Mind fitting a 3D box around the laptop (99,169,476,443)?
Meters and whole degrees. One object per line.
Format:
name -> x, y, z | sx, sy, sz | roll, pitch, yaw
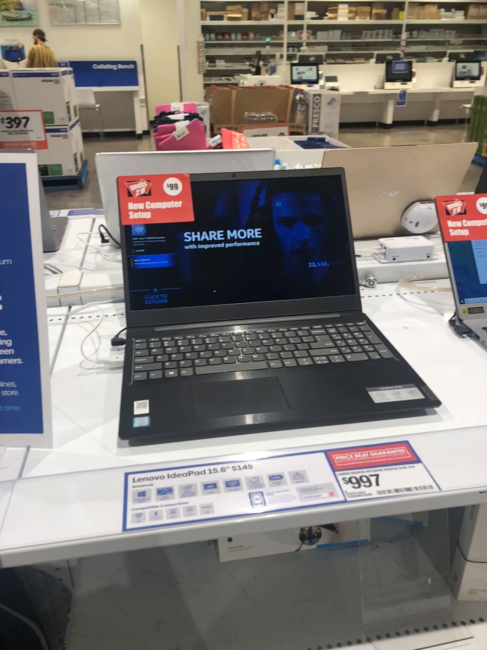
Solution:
laptop -> 0.020, -0.064, 0.695 | 0.352, 0.192, 0.374 | -5, 27, -9
